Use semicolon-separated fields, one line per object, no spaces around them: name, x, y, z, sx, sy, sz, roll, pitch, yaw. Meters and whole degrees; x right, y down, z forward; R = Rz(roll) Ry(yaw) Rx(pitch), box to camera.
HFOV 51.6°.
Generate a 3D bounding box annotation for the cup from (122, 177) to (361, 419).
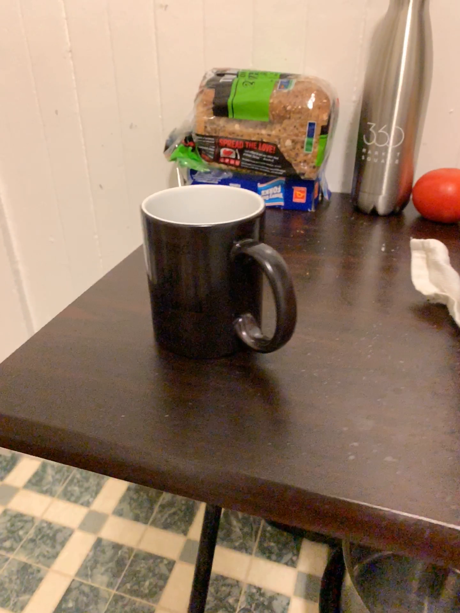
cup;0.002;-0.016;0.318;0.080;0.099;0.131;-24;38;-34
